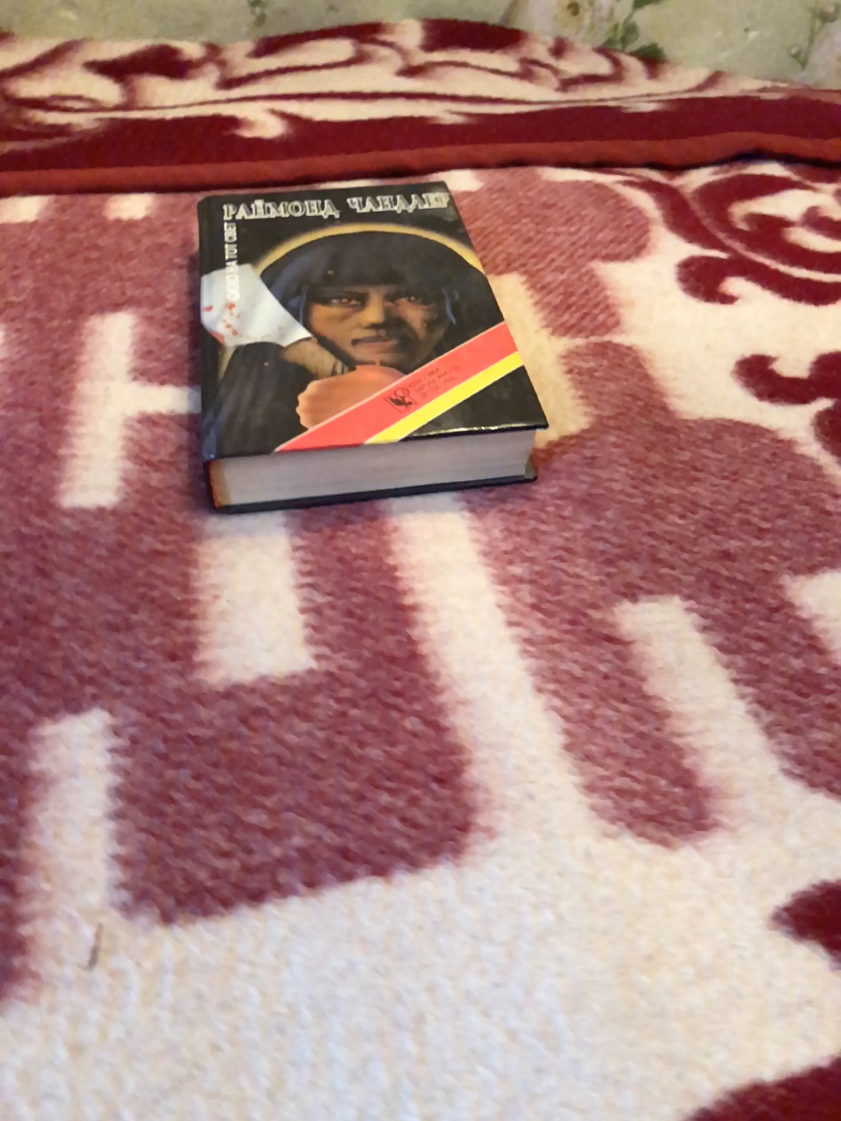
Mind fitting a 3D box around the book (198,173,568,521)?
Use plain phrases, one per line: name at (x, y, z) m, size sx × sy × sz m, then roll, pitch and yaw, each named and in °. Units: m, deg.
book at (-0.029, -0.109, 0.424) m, size 0.133 × 0.032 × 0.209 m, roll -7°, pitch 48°, yaw -8°
